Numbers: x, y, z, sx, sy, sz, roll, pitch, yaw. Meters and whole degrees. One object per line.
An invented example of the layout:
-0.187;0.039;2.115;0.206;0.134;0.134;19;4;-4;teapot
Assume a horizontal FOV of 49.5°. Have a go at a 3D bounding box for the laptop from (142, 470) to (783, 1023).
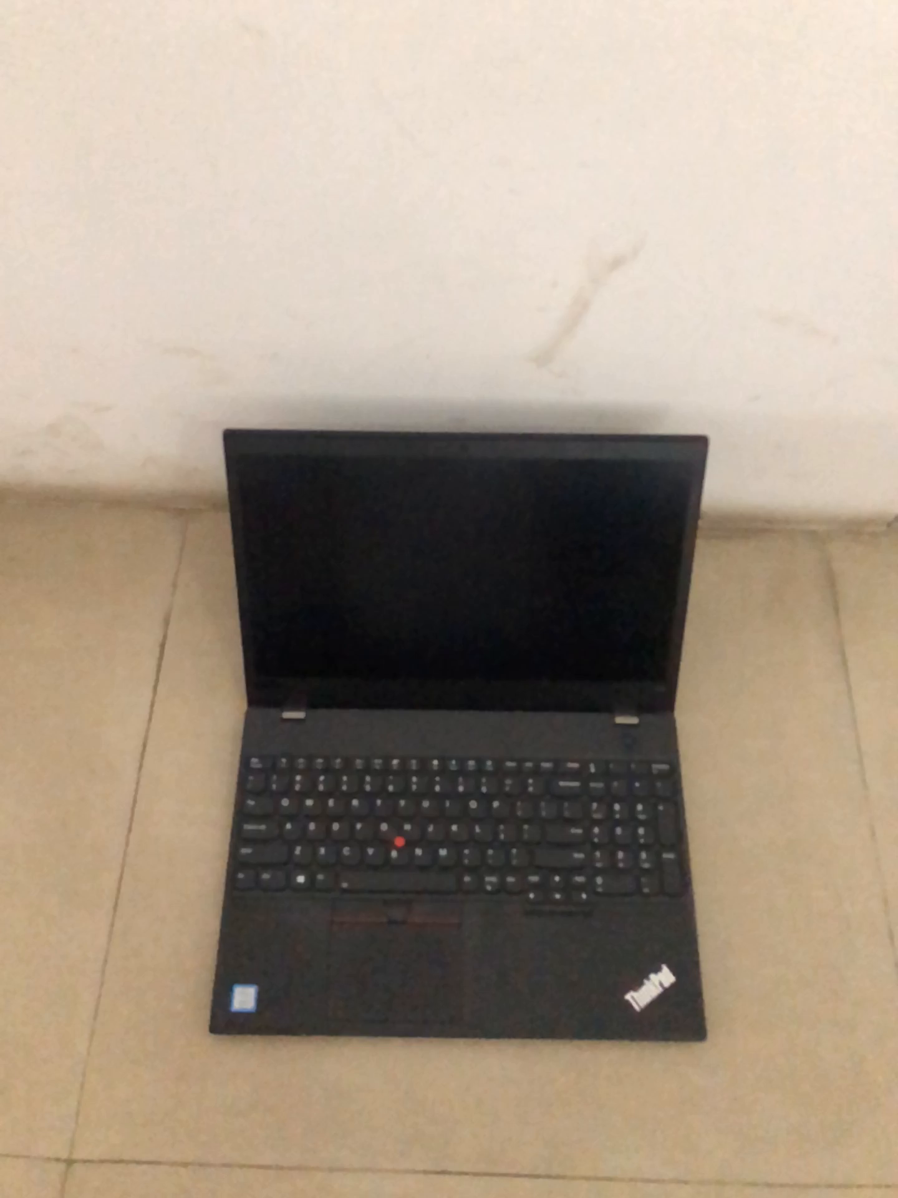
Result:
0.005;0.105;0.710;0.344;0.193;0.364;1;58;-2;laptop
